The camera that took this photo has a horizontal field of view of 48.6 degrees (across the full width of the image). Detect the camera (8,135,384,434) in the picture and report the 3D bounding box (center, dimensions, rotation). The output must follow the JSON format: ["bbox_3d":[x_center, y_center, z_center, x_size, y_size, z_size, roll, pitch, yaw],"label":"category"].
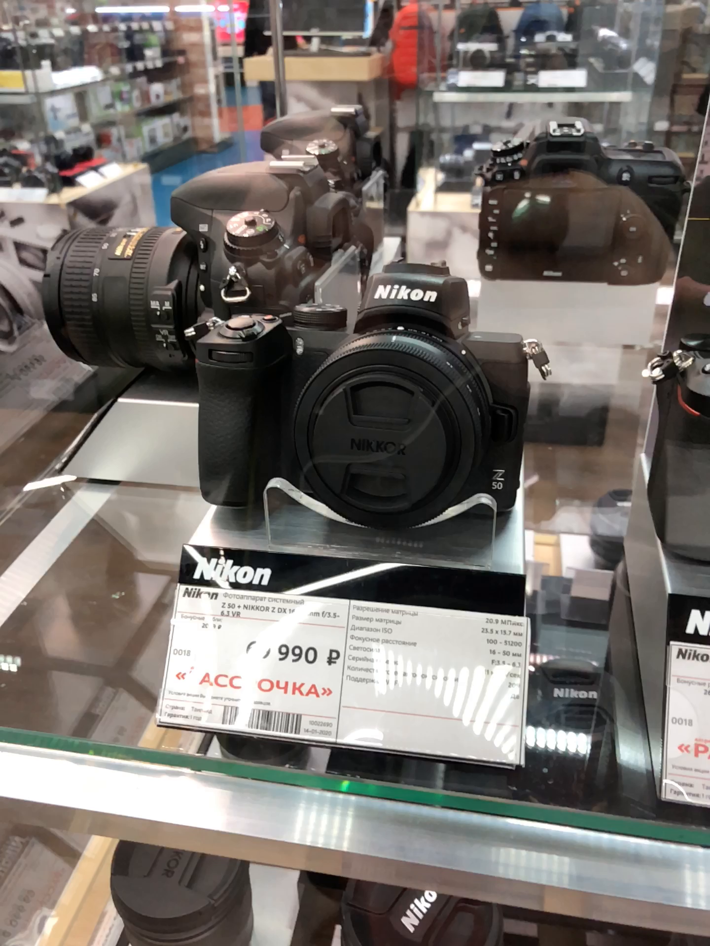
[{"bbox_3d":[-0.073,-0.111,0.431,0.150,0.111,0.130,9,32,11],"label":"camera"}]

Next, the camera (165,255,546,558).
[{"bbox_3d":[0.005,-0.034,0.313,0.126,0.092,0.090,5,19,10],"label":"camera"}]
